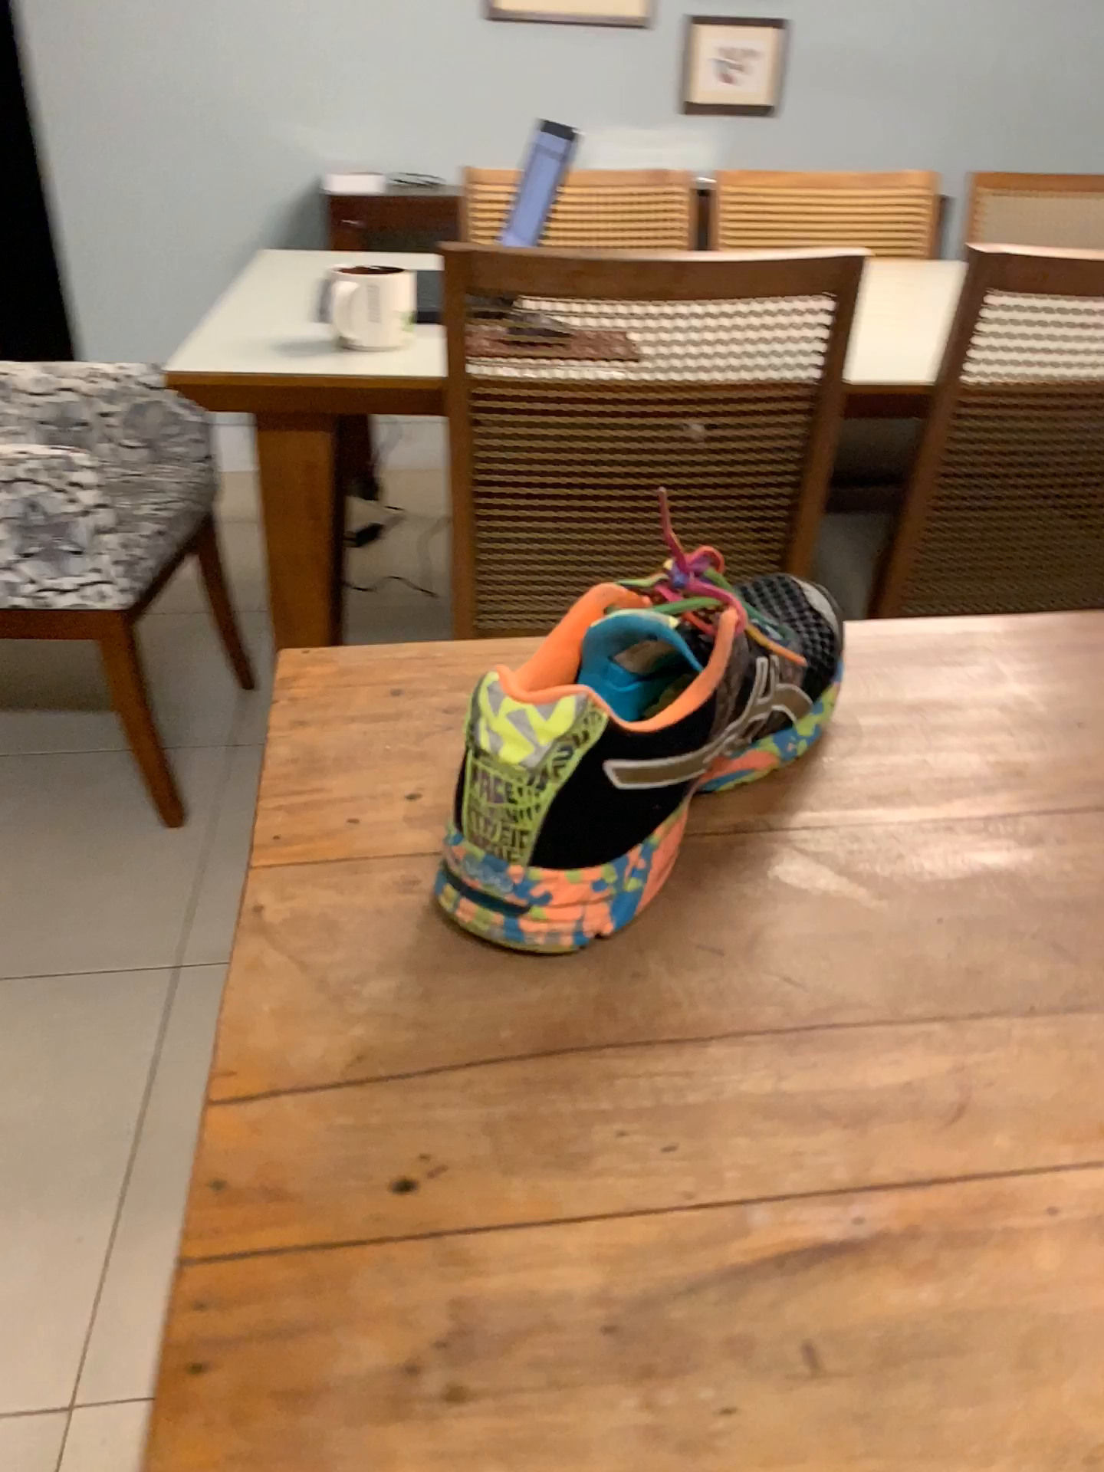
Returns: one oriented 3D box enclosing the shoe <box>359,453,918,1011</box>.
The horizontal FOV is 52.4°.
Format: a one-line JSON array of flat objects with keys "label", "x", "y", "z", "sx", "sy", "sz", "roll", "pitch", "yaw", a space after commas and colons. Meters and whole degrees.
[{"label": "shoe", "x": 0.059, "y": -0.029, "z": 0.521, "sx": 0.107, "sy": 0.112, "sz": 0.314, "roll": 19, "pitch": 35, "yaw": 27}]
